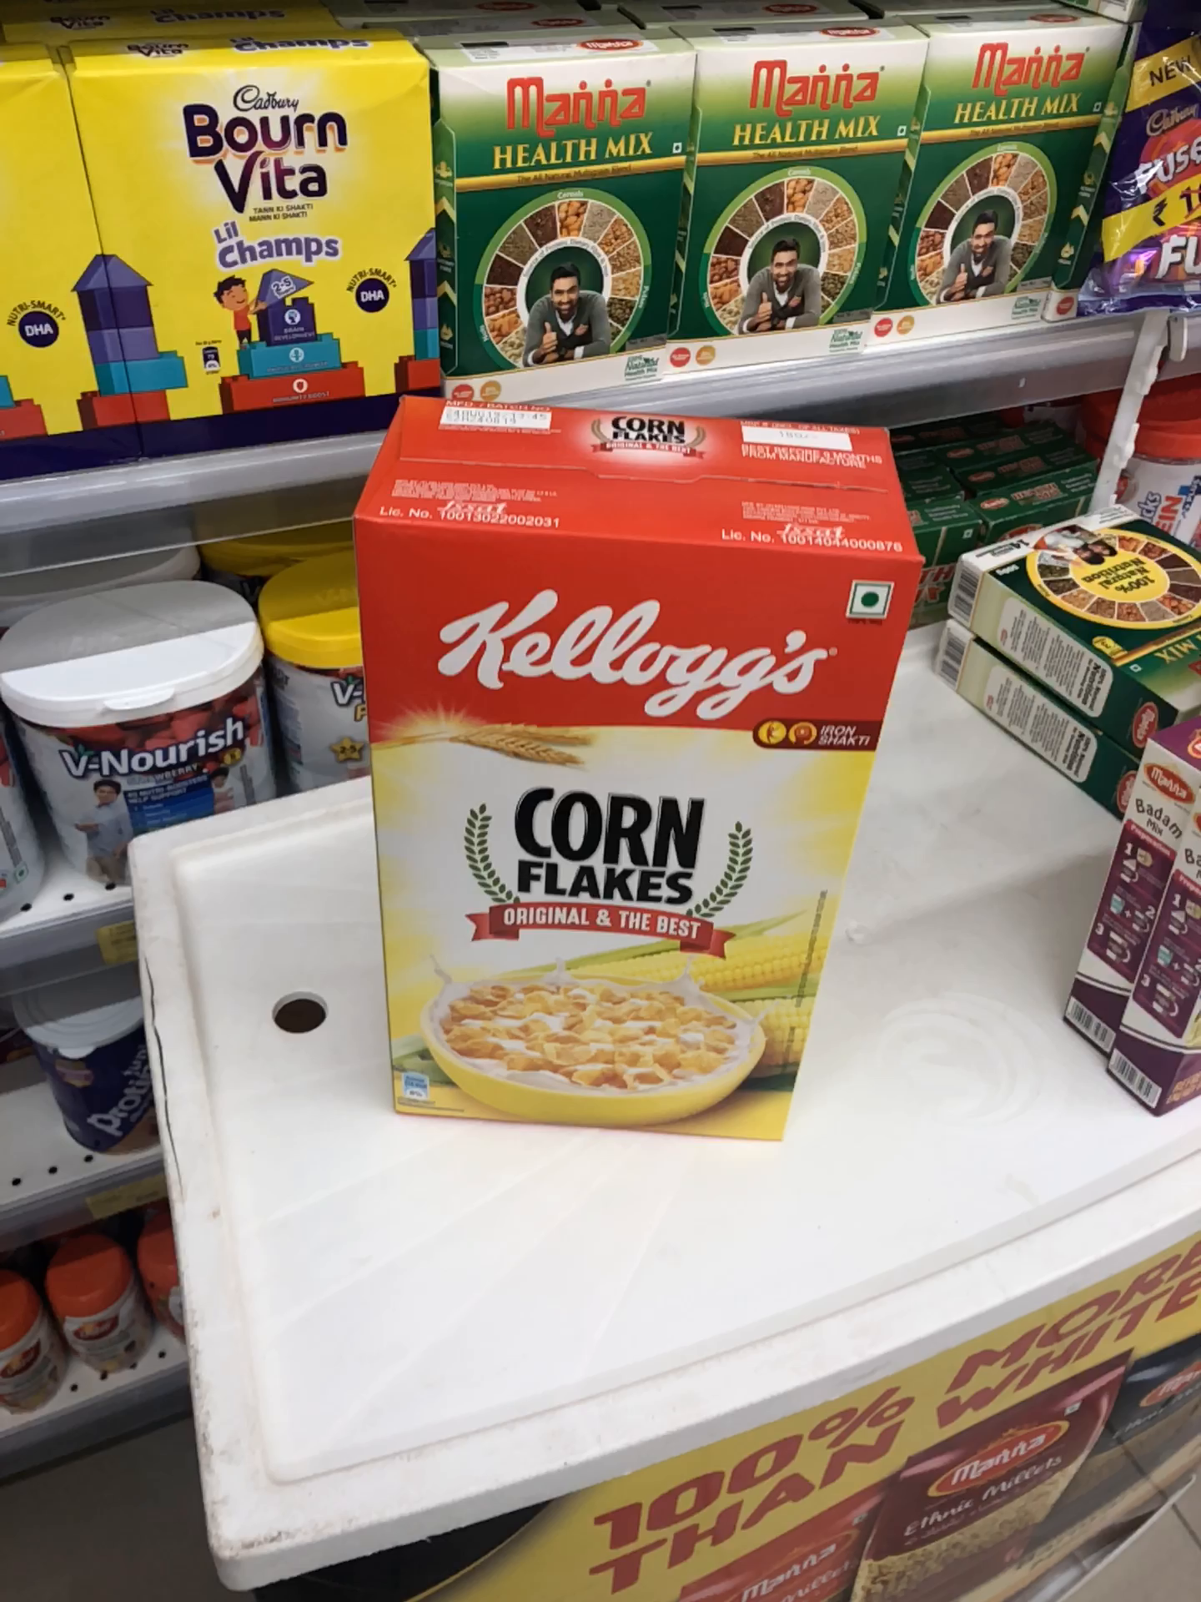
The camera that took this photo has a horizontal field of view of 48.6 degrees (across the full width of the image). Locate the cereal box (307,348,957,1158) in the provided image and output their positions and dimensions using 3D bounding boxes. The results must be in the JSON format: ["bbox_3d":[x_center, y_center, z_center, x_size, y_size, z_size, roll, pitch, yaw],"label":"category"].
[{"bbox_3d":[0.007,-0.001,0.558,0.200,0.329,0.110,5,42,2],"label":"cereal box"}]
